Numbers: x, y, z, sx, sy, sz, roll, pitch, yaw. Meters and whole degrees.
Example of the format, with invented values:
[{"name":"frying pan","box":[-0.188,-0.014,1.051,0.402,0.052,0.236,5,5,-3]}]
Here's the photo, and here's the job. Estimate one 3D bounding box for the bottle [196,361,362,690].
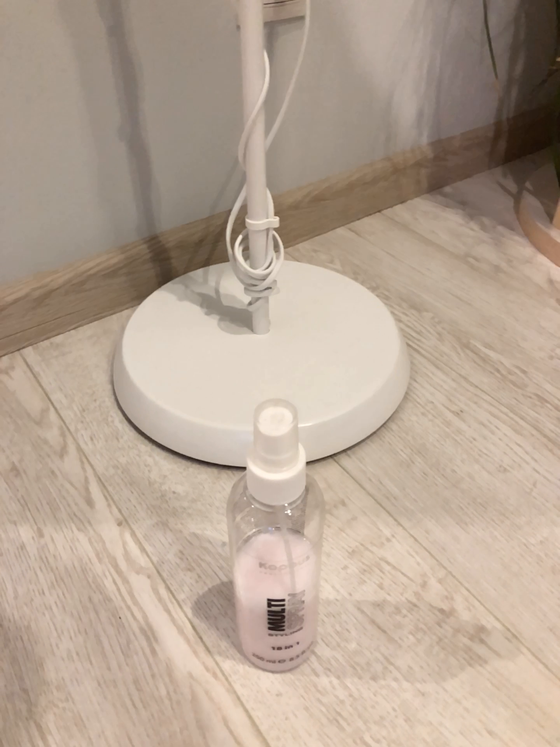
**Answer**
[{"name":"bottle","box":[-0.002,0.088,0.322,0.049,0.183,0.054,-24,46,-26]}]
